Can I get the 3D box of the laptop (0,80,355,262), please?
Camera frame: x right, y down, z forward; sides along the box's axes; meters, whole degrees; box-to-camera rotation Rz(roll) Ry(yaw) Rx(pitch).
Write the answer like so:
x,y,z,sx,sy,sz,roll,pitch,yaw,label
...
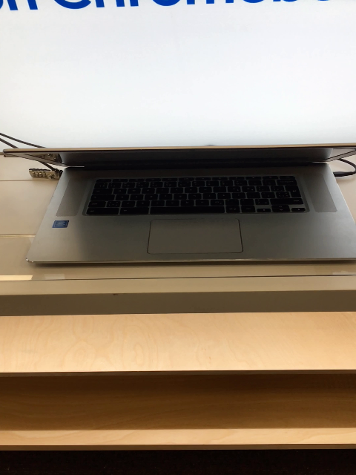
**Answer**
x,y,z,sx,sy,sz,roll,pitch,yaw,label
0.011,-0.097,0.616,0.406,0.158,0.242,-1,39,0,laptop
